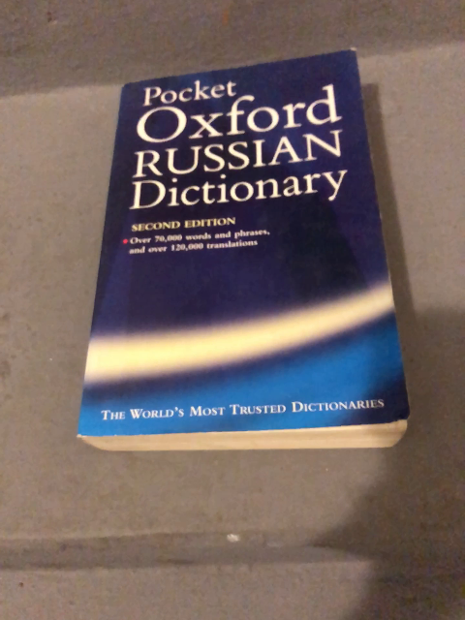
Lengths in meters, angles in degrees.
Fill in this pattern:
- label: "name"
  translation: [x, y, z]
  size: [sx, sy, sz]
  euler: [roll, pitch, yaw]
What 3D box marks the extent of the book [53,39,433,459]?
- label: "book"
  translation: [0.003, -0.035, 0.244]
  size: [0.137, 0.032, 0.195]
  euler: [-4, 64, 9]
